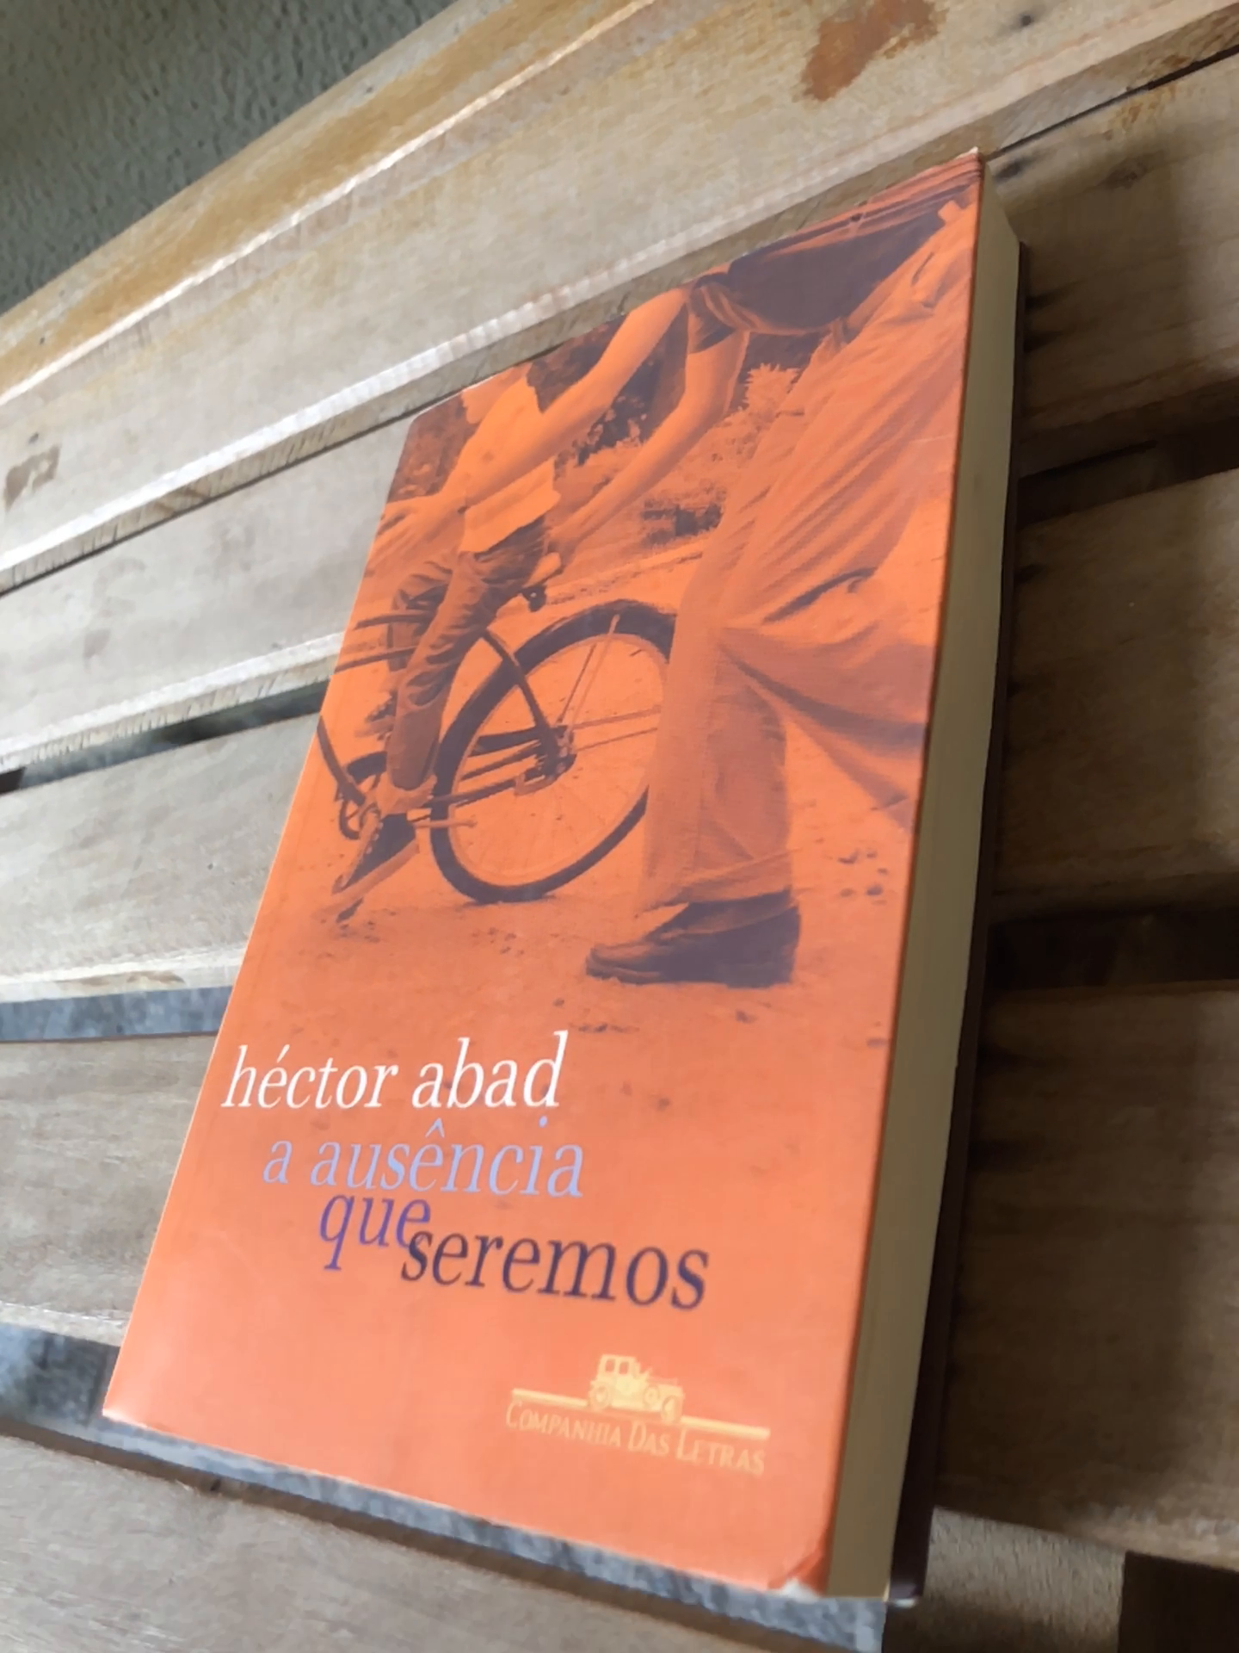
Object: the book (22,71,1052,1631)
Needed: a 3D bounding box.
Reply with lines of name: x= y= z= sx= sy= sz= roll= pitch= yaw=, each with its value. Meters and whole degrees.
book: x=-0.012 y=-0.007 z=0.213 sx=0.143 sy=0.020 sz=0.200 roll=-10 pitch=58 yaw=39
